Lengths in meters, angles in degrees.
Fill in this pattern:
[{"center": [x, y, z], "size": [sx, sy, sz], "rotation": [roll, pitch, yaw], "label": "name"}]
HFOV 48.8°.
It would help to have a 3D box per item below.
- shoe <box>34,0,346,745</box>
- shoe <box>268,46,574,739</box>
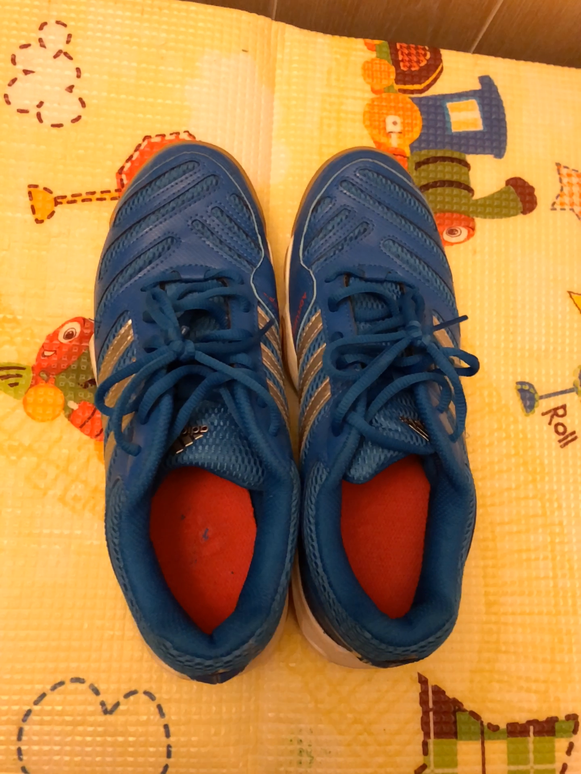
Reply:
[{"center": [-0.046, -0.008, 0.320], "size": [0.110, 0.140, 0.290], "rotation": [0, 81, -7], "label": "shoe"}, {"center": [0.049, -0.001, 0.330], "size": [0.110, 0.120, 0.290], "rotation": [1, 81, -7], "label": "shoe"}]
